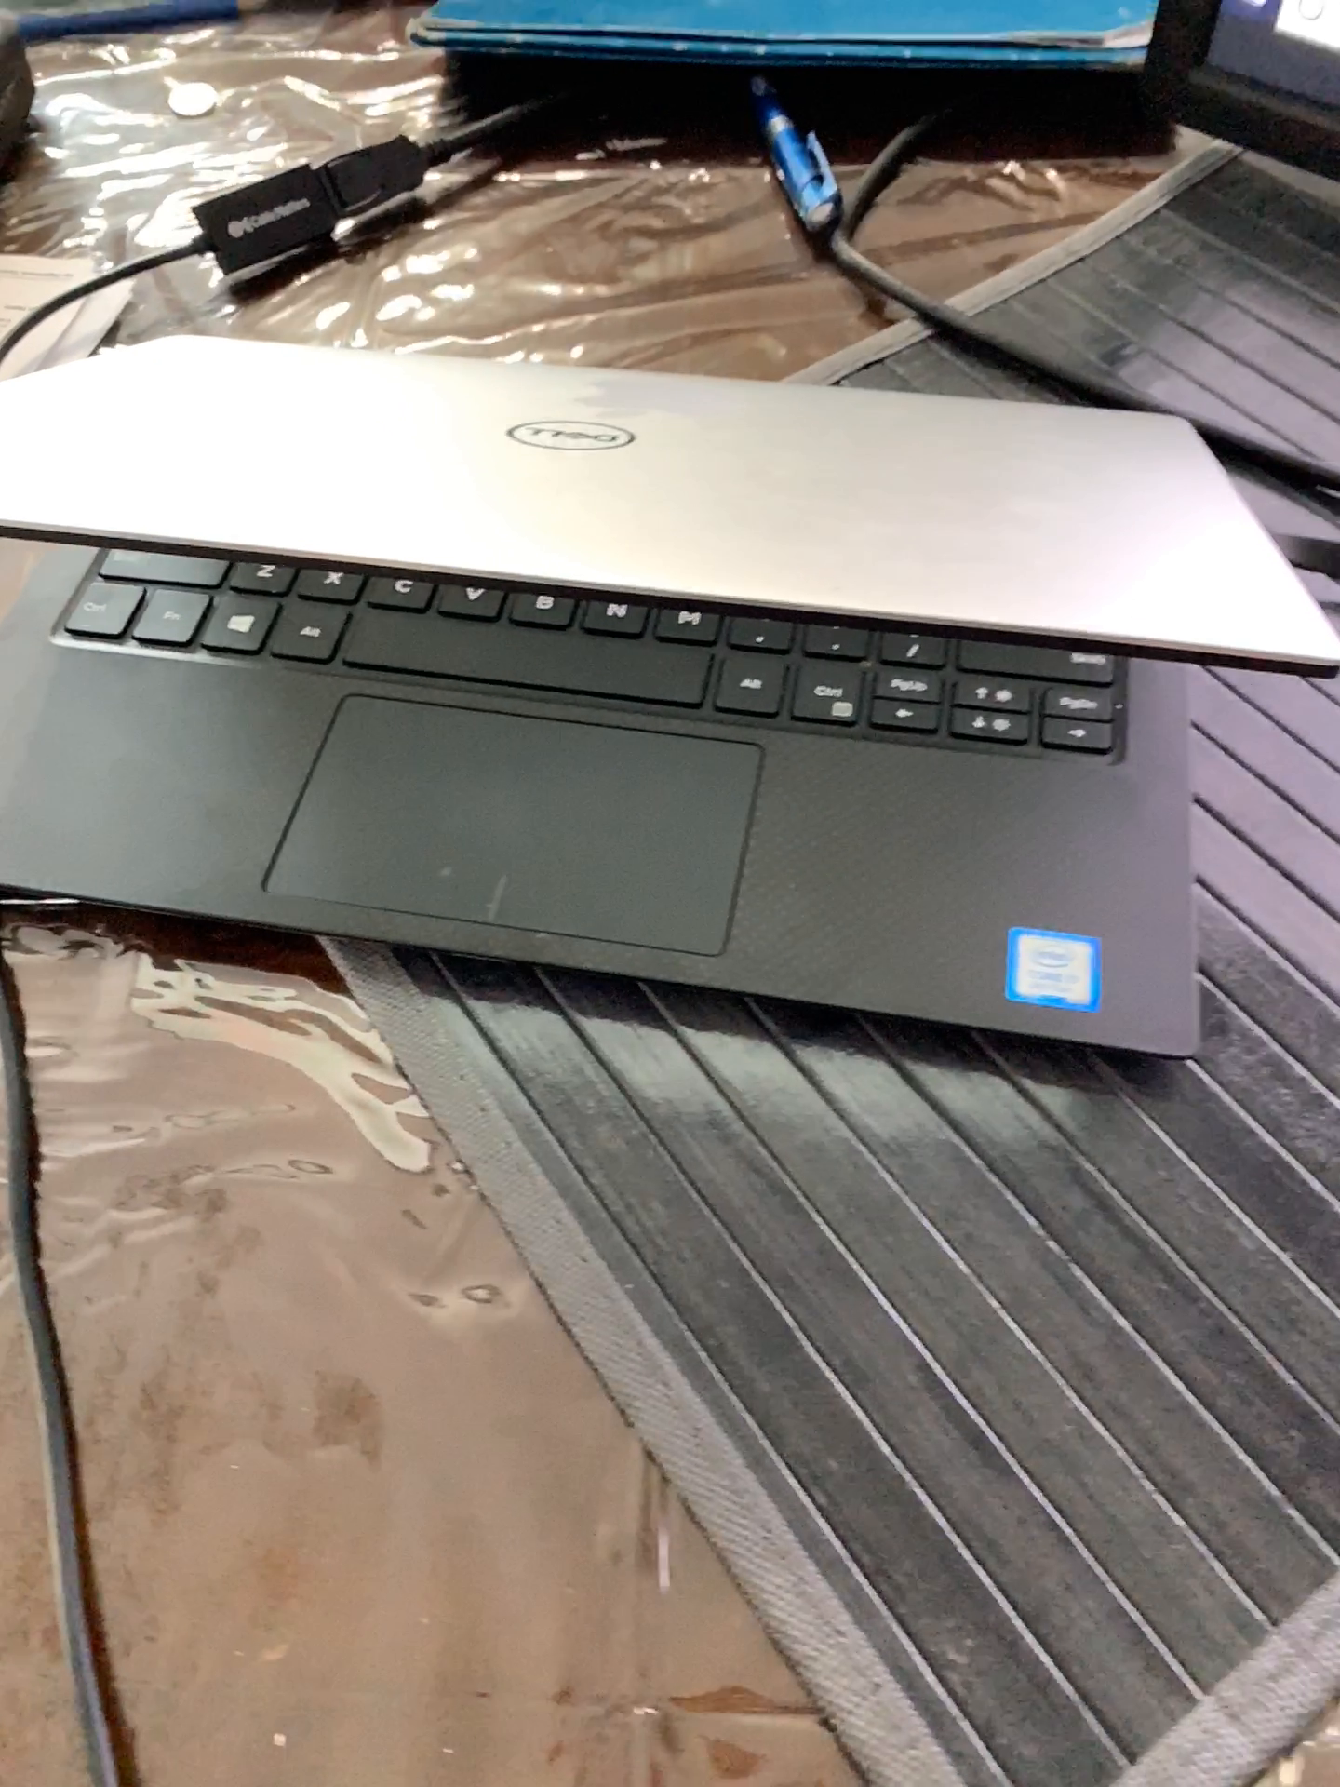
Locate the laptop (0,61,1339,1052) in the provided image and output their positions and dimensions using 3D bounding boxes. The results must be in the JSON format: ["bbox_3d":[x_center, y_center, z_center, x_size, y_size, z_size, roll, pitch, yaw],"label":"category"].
[{"bbox_3d":[-0.024,-0.086,0.306,0.290,0.082,0.183,7,57,7],"label":"laptop"}]
